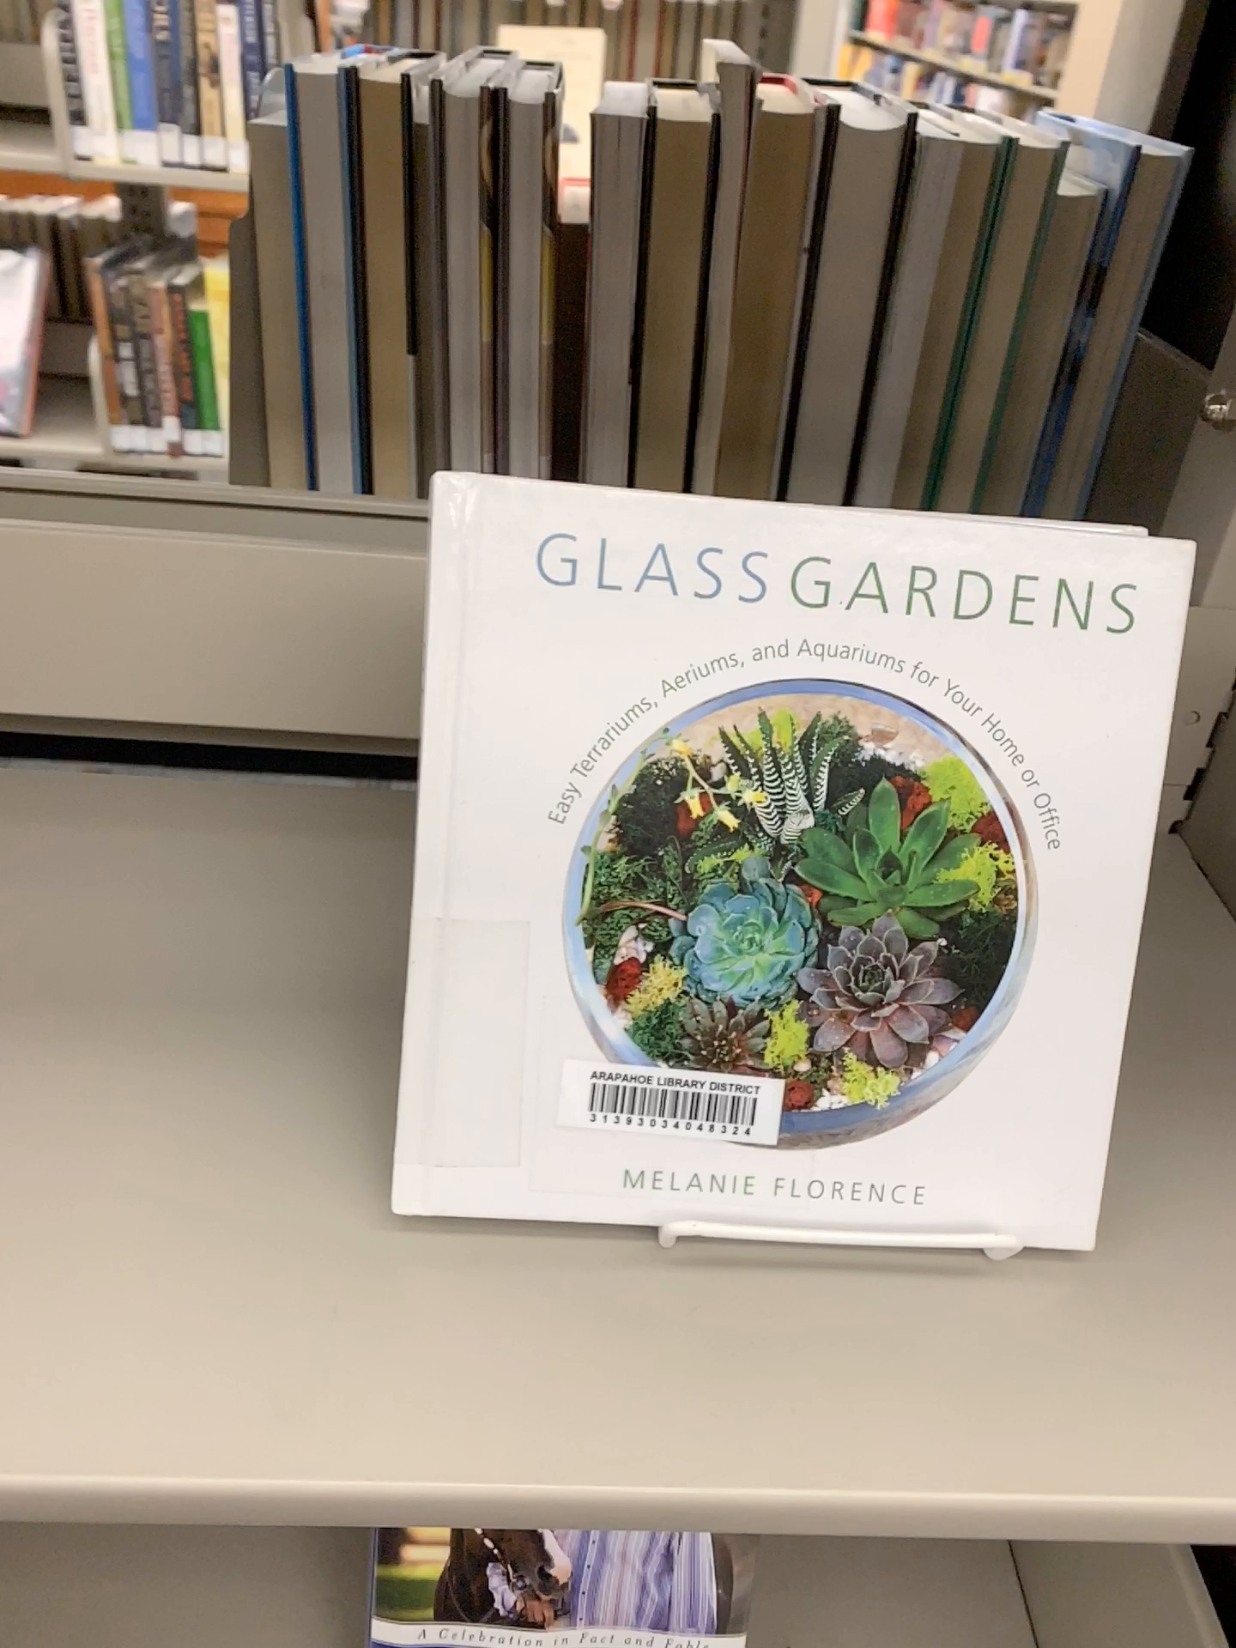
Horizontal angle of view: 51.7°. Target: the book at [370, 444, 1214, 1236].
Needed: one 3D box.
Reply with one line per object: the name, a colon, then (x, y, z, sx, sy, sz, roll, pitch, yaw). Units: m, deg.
book: (0.036, 0.007, 0.307, 0.180, 0.174, 0.030, 3, 9, -4)
